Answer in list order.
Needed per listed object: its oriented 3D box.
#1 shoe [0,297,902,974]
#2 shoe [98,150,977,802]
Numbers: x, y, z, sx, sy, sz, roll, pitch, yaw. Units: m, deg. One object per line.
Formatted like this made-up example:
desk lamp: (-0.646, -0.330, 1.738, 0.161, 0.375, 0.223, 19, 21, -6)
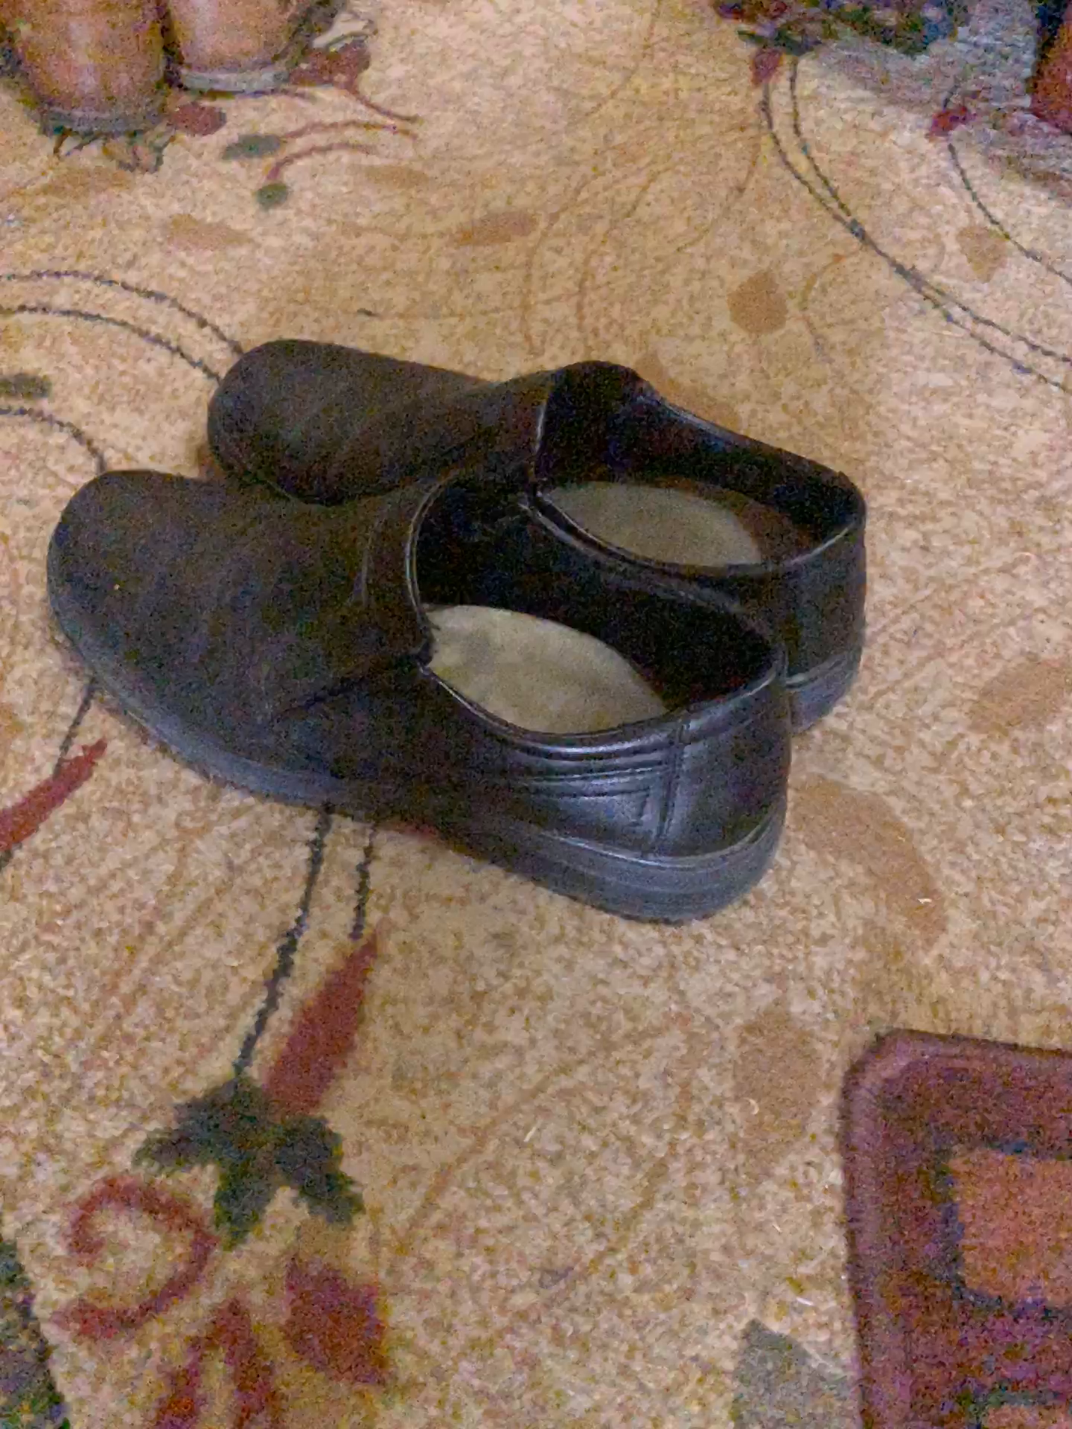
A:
shoe: (-0.047, -0.030, 0.365, 0.290, 0.099, 0.101, 19, 54, 10)
shoe: (-0.008, -0.098, 0.416, 0.290, 0.099, 0.100, 28, 56, 16)
